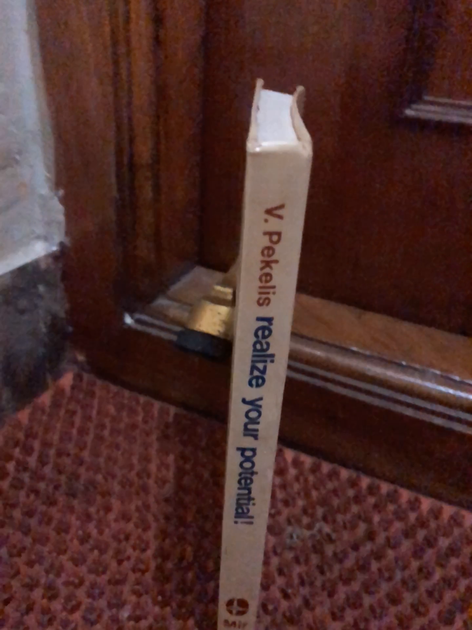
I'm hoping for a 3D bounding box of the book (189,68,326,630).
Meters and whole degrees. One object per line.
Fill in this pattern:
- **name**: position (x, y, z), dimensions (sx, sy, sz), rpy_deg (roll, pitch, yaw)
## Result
- **book**: position (0.012, 0.013, 0.235), dimensions (0.030, 0.209, 0.151), rpy_deg (6, 30, 7)
